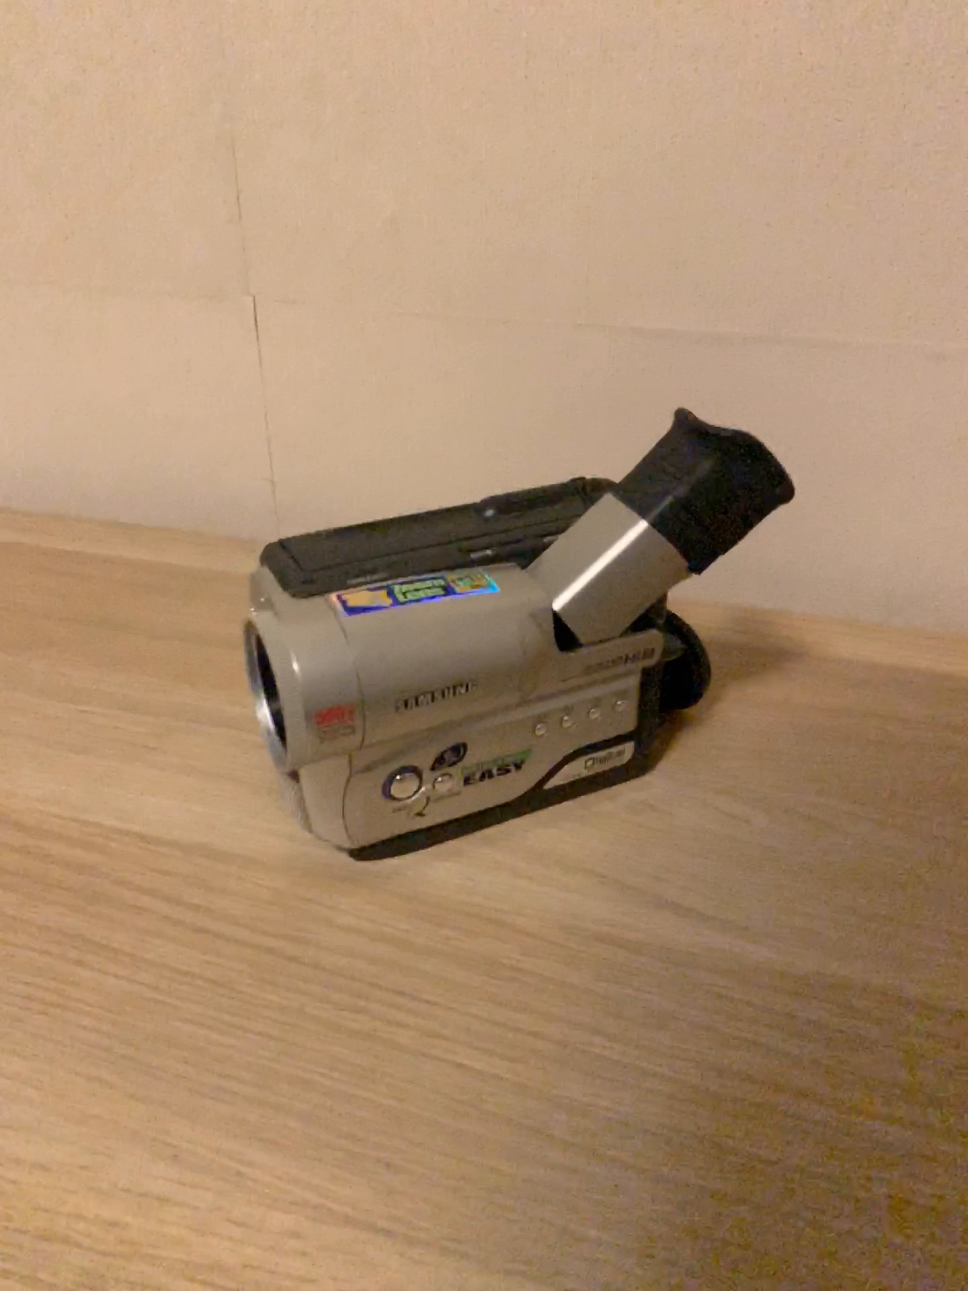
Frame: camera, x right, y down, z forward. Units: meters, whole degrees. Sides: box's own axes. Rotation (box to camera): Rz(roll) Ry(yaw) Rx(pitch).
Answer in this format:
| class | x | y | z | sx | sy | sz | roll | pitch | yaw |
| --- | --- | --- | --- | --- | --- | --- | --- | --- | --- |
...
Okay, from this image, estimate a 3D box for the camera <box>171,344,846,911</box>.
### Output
| class | x | y | z | sx | sy | sz | roll | pitch | yaw |
| --- | --- | --- | --- | --- | --- | --- | --- | --- | --- |
| camera | 0.006 | -0.020 | 0.355 | 0.192 | 0.133 | 0.107 | -13 | 32 | -24 |
